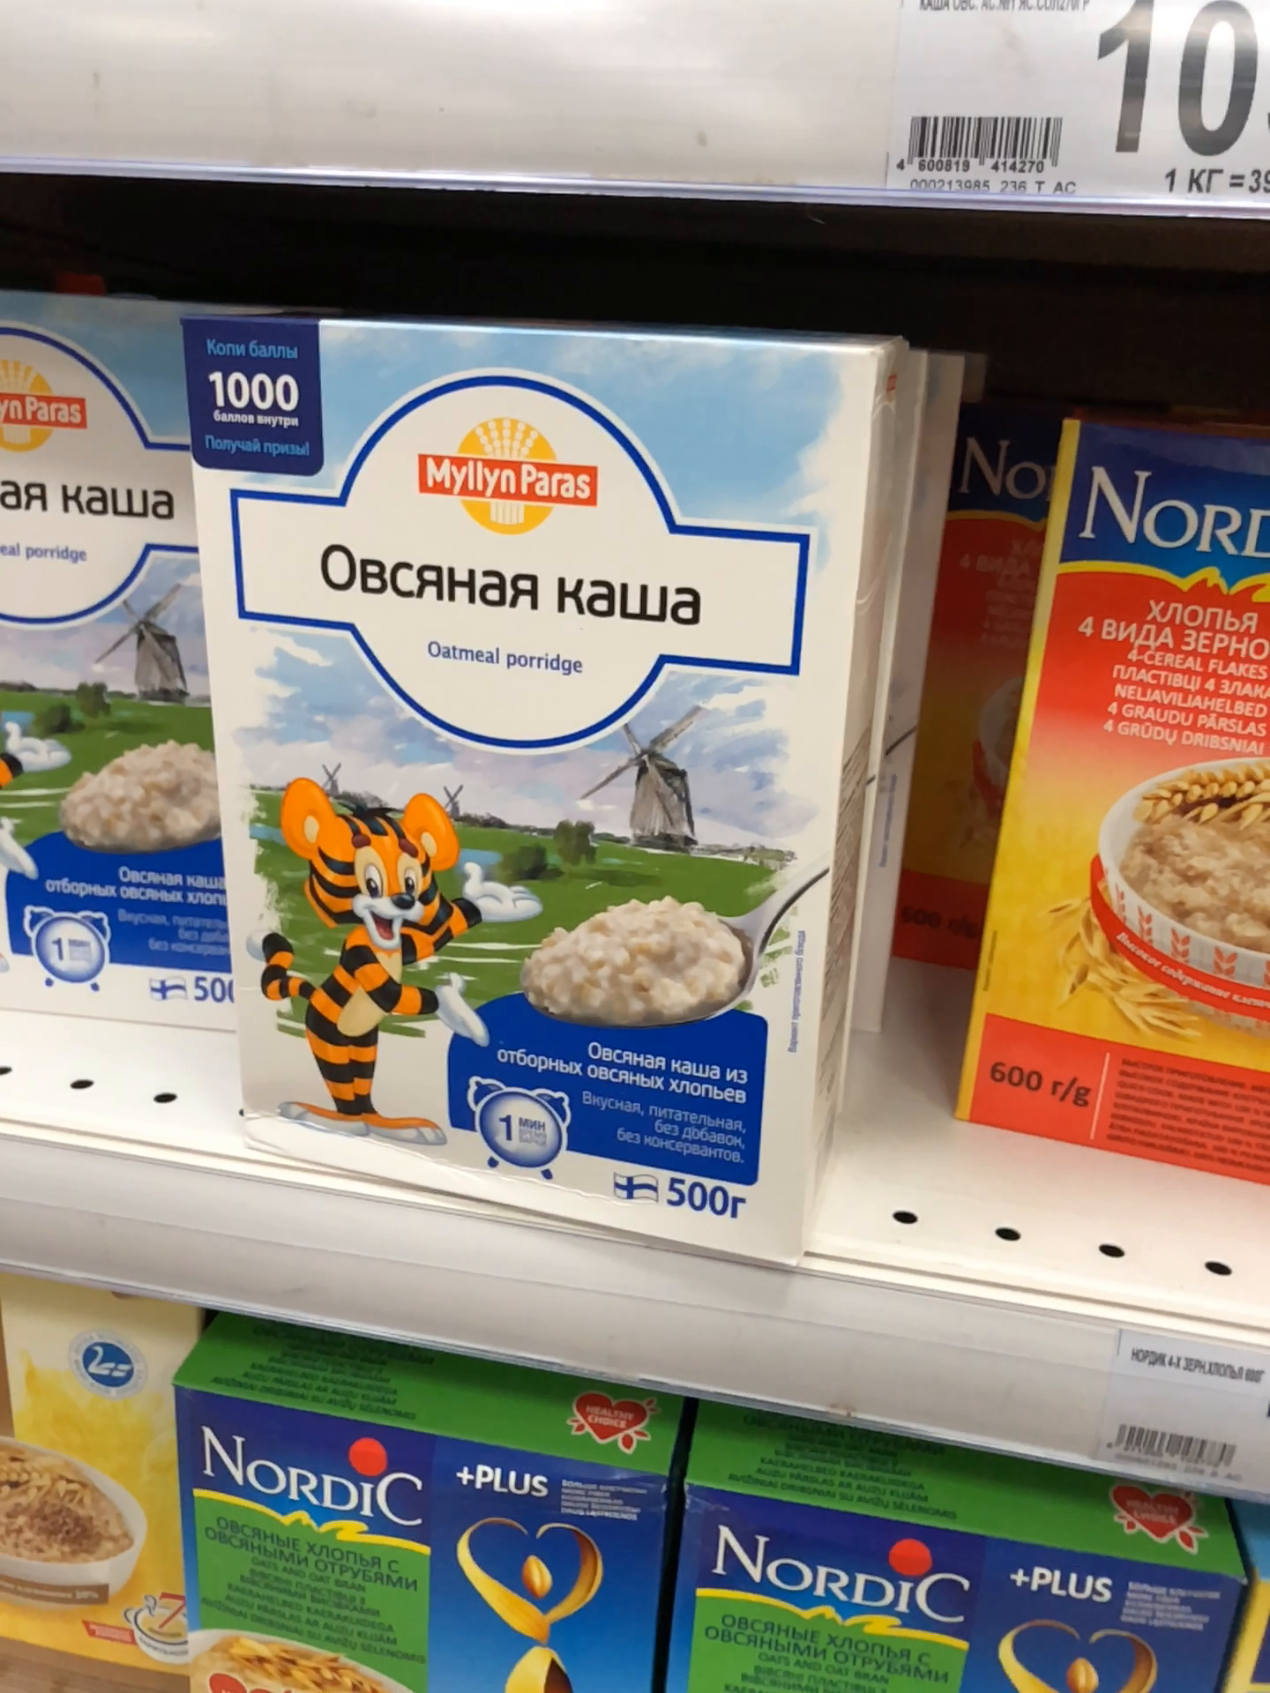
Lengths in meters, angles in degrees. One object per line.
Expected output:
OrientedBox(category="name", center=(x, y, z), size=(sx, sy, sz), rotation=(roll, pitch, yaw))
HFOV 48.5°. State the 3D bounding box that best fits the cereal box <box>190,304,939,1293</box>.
OrientedBox(category="cereal box", center=(-0.019, -0.013, 0.335), size=(0.150, 0.209, 0.050), rotation=(9, 22, 15))
